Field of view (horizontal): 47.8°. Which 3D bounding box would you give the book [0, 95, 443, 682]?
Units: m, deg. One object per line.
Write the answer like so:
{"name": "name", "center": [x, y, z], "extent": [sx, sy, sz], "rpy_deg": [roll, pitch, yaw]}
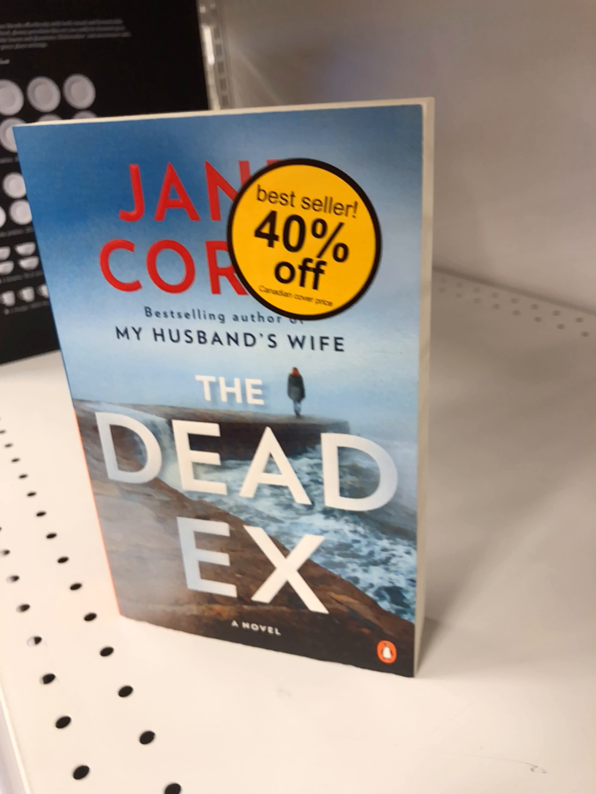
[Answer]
{"name": "book", "center": [-0.021, 0.003, 0.264], "extent": [0.146, 0.211, 0.040], "rpy_deg": [4, 26, 20]}
